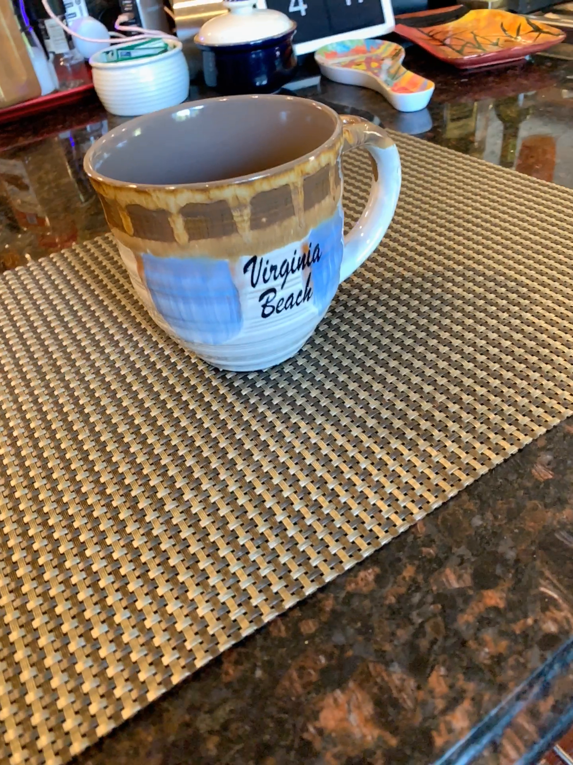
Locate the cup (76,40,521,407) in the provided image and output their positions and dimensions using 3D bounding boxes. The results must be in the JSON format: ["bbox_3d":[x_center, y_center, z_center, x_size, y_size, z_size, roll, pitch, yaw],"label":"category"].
[{"bbox_3d":[0.005,-0.080,0.267,0.150,0.090,0.101,-24,44,-17],"label":"cup"}]
